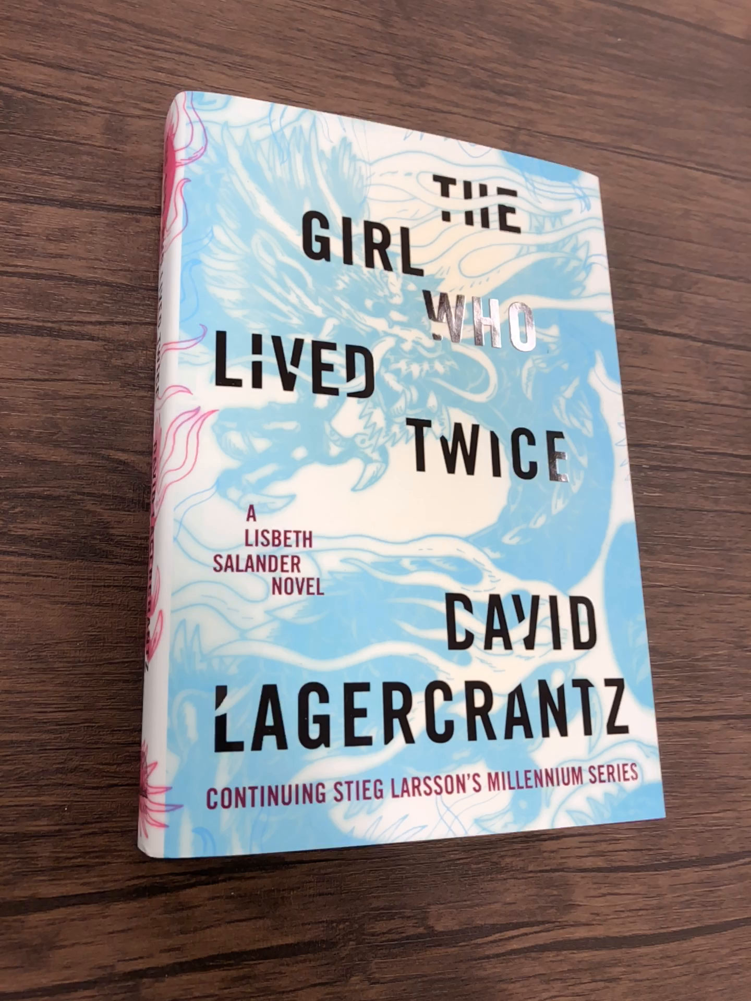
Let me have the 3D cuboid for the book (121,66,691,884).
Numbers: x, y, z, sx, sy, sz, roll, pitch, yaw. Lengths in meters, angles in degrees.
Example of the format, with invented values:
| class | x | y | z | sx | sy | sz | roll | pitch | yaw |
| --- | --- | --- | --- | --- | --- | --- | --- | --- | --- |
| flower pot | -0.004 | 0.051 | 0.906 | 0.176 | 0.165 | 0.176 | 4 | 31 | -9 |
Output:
| class | x | y | z | sx | sy | sz | roll | pitch | yaw |
| --- | --- | --- | --- | --- | --- | --- | --- | --- | --- |
| book | 0.010 | -0.012 | 0.283 | 0.170 | 0.040 | 0.240 | 4 | 75 | -19 |
